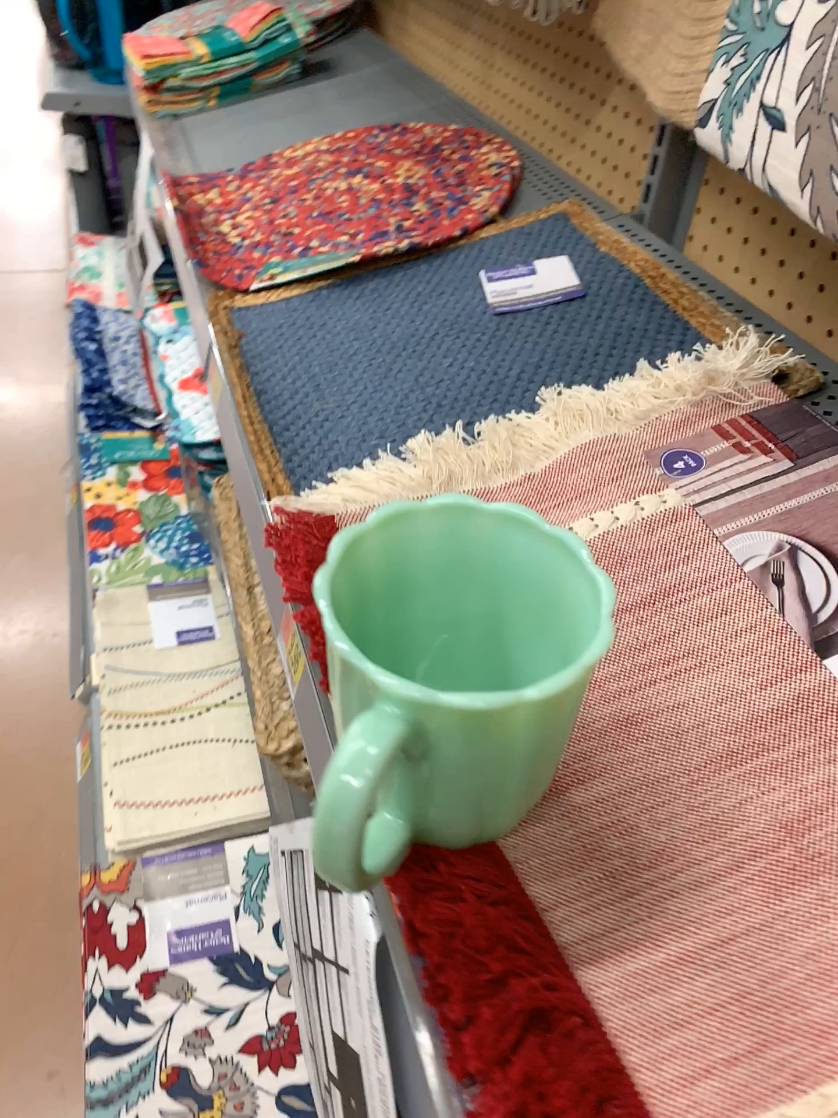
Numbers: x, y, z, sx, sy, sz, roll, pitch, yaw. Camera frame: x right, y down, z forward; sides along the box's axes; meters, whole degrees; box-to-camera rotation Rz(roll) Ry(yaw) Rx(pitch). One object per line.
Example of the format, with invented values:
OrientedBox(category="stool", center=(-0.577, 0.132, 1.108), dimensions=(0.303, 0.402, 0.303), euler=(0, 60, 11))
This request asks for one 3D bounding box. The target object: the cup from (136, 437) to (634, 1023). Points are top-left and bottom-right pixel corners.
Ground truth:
OrientedBox(category="cup", center=(-0.003, 0.043, 0.269), dimensions=(0.090, 0.090, 0.131), euler=(20, 41, 17))
